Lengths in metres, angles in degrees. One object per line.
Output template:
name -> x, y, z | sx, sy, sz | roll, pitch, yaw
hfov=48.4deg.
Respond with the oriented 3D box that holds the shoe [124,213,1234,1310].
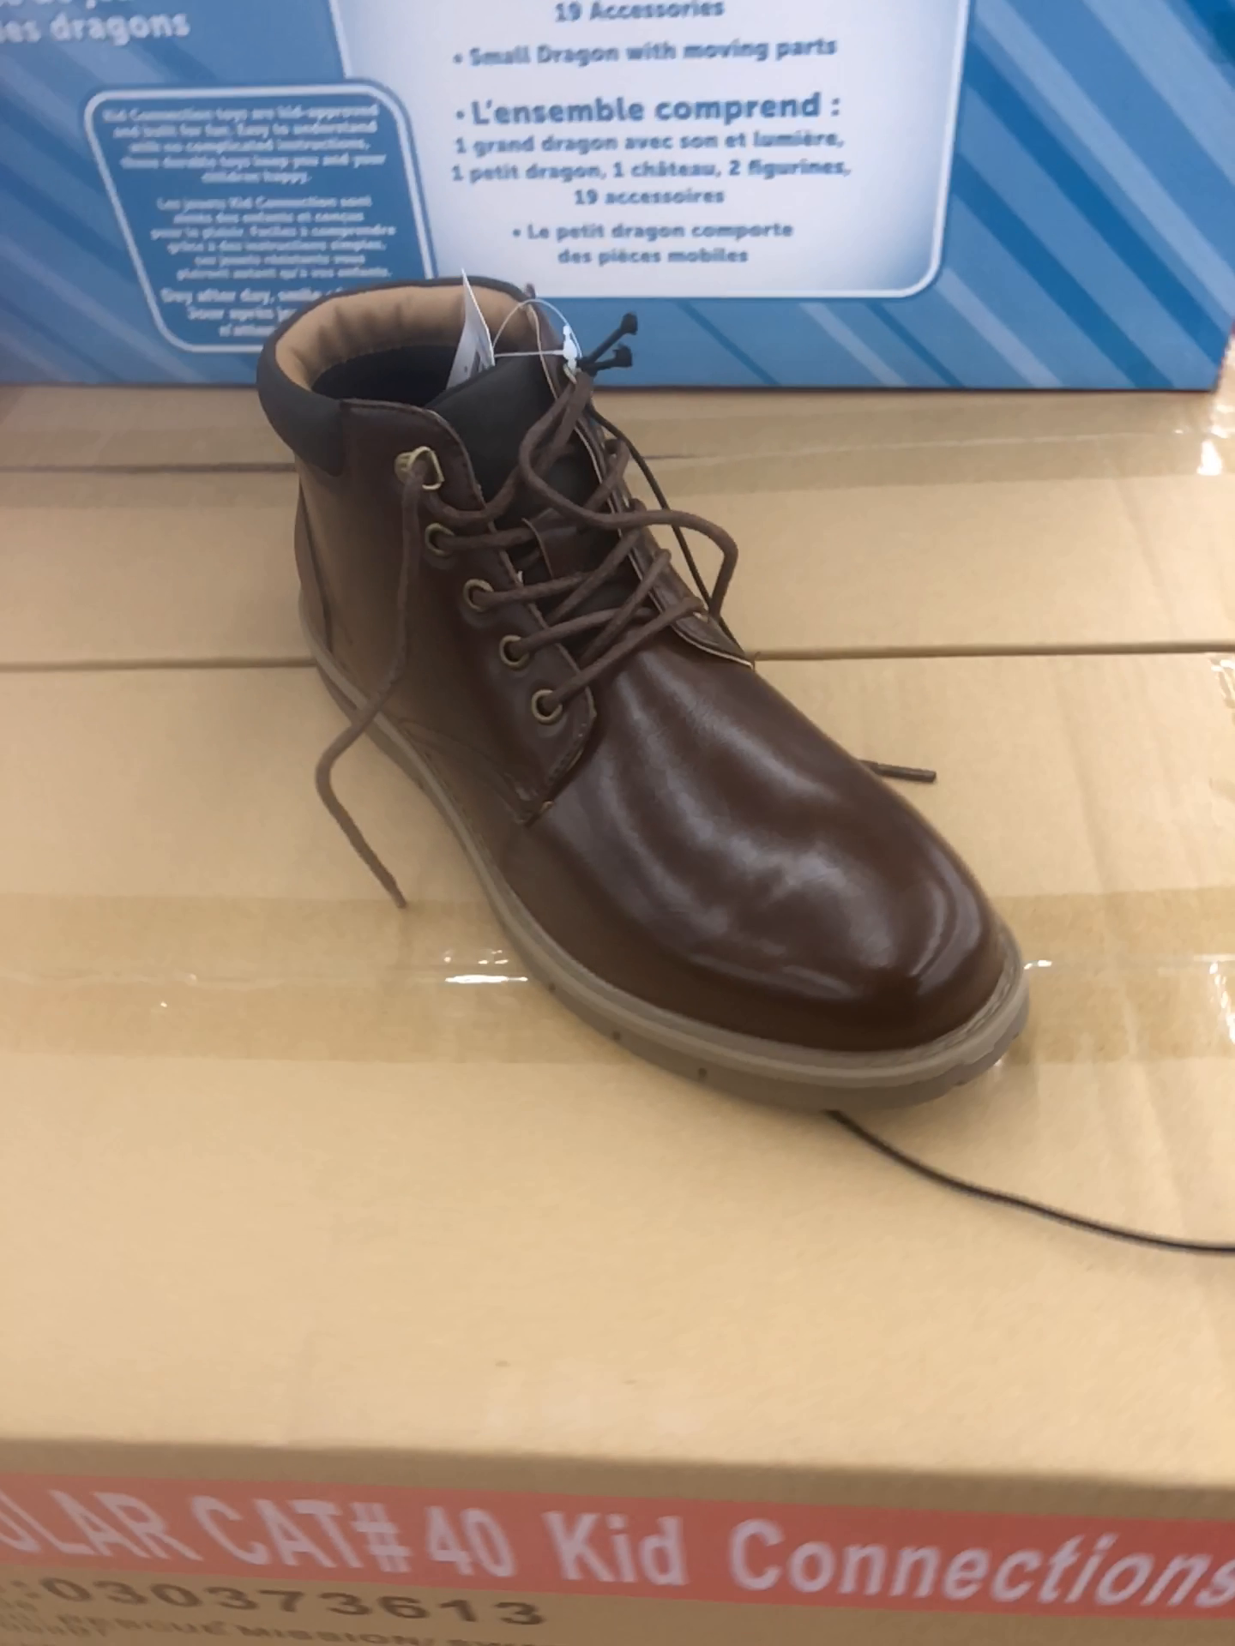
shoe -> 0.001, -0.038, 0.398 | 0.120, 0.159, 0.291 | -33, 52, -23
